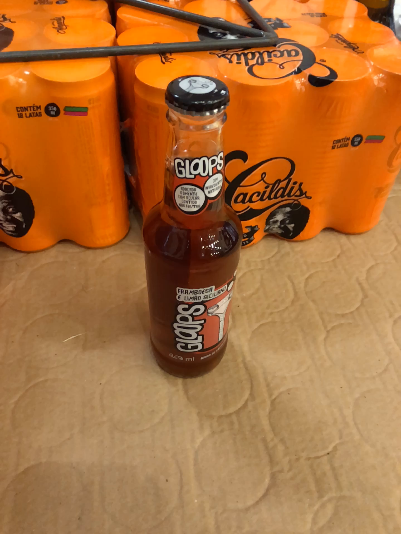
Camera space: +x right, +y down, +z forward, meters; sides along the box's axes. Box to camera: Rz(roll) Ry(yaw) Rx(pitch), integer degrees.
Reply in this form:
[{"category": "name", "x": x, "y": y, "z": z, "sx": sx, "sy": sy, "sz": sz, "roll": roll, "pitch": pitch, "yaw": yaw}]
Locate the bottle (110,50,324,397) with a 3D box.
[{"category": "bottle", "x": 0.002, "y": -0.008, "z": 0.247, "sx": 0.070, "sy": 0.189, "sz": 0.050, "roll": -21, "pitch": 52, "yaw": -21}]
